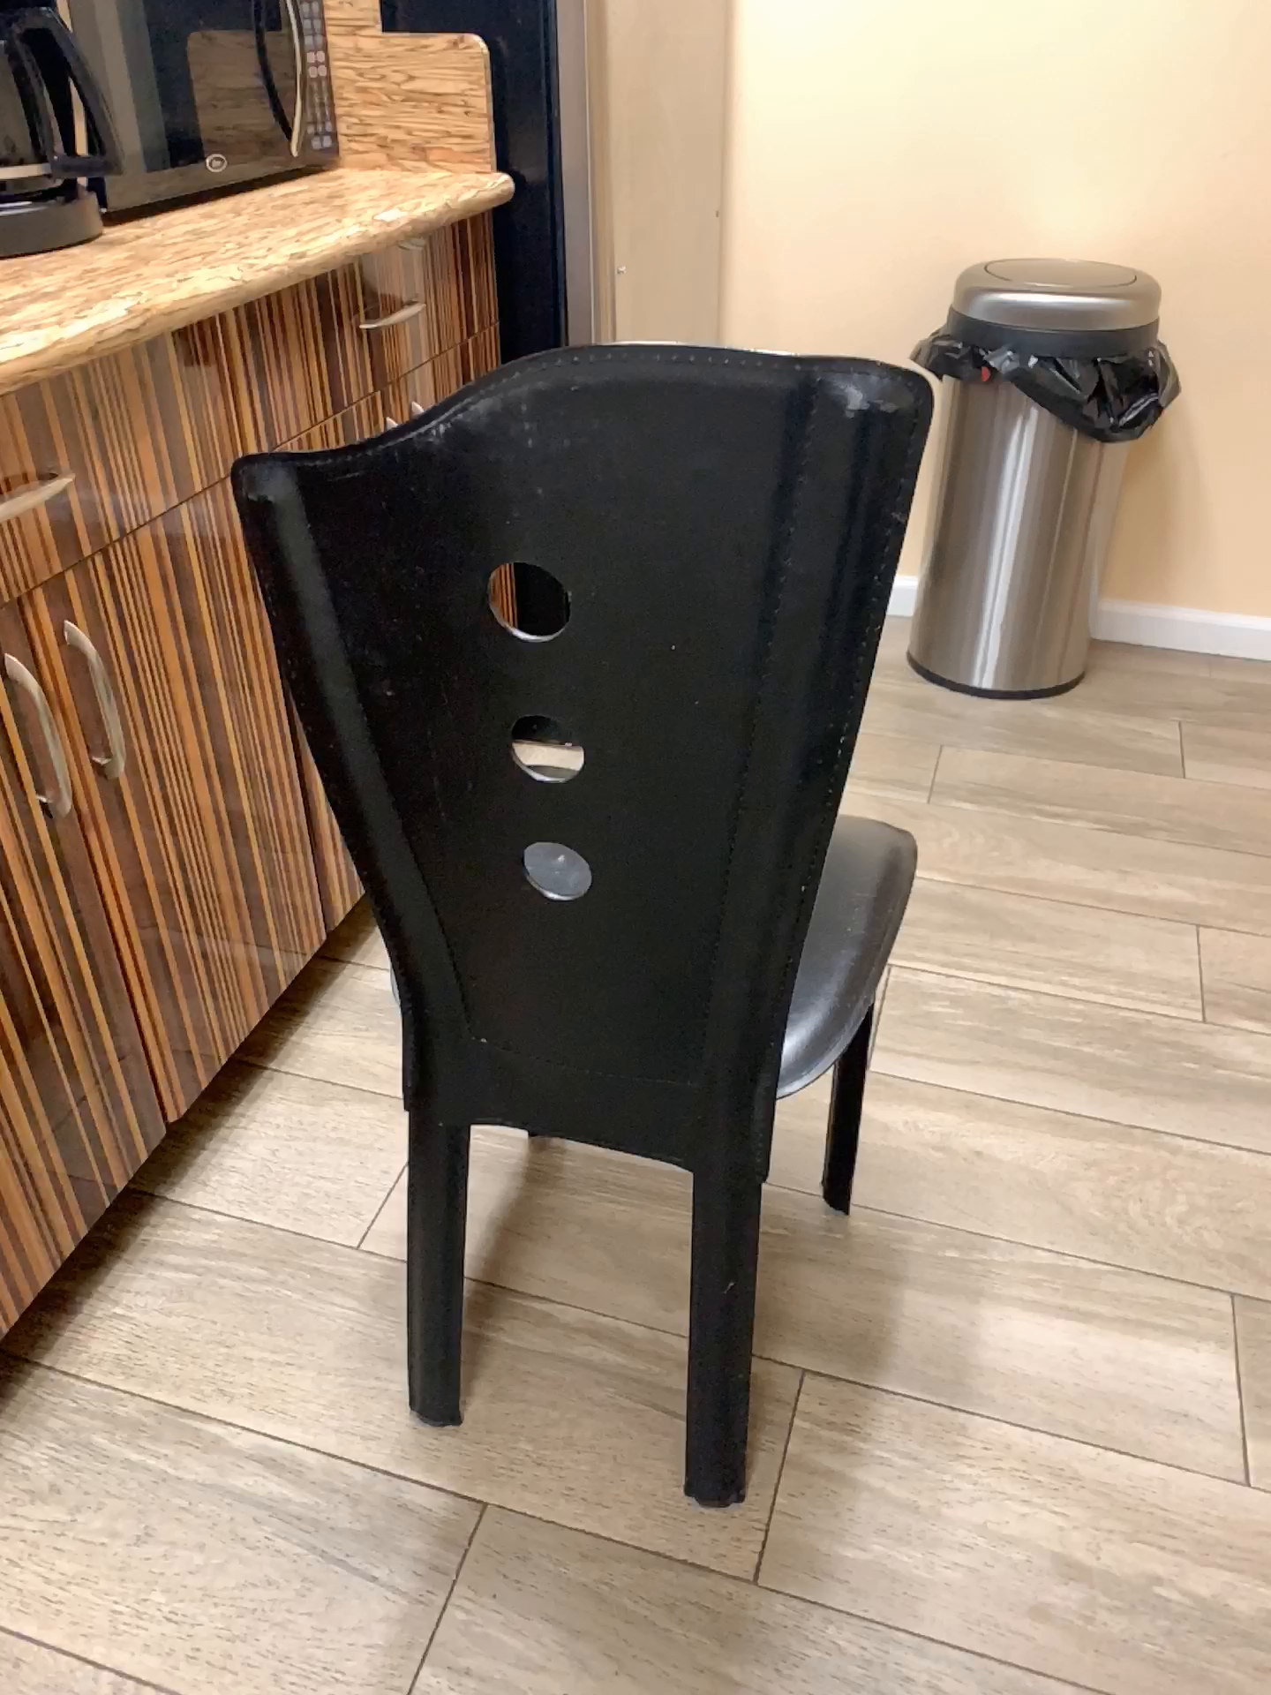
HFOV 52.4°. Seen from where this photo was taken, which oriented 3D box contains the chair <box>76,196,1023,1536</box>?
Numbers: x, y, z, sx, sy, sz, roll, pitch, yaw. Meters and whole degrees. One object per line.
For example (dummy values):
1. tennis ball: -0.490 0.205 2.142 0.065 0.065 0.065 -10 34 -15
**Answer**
1. chair: -0.010 0.023 1.076 0.462 0.941 0.476 10 35 14
